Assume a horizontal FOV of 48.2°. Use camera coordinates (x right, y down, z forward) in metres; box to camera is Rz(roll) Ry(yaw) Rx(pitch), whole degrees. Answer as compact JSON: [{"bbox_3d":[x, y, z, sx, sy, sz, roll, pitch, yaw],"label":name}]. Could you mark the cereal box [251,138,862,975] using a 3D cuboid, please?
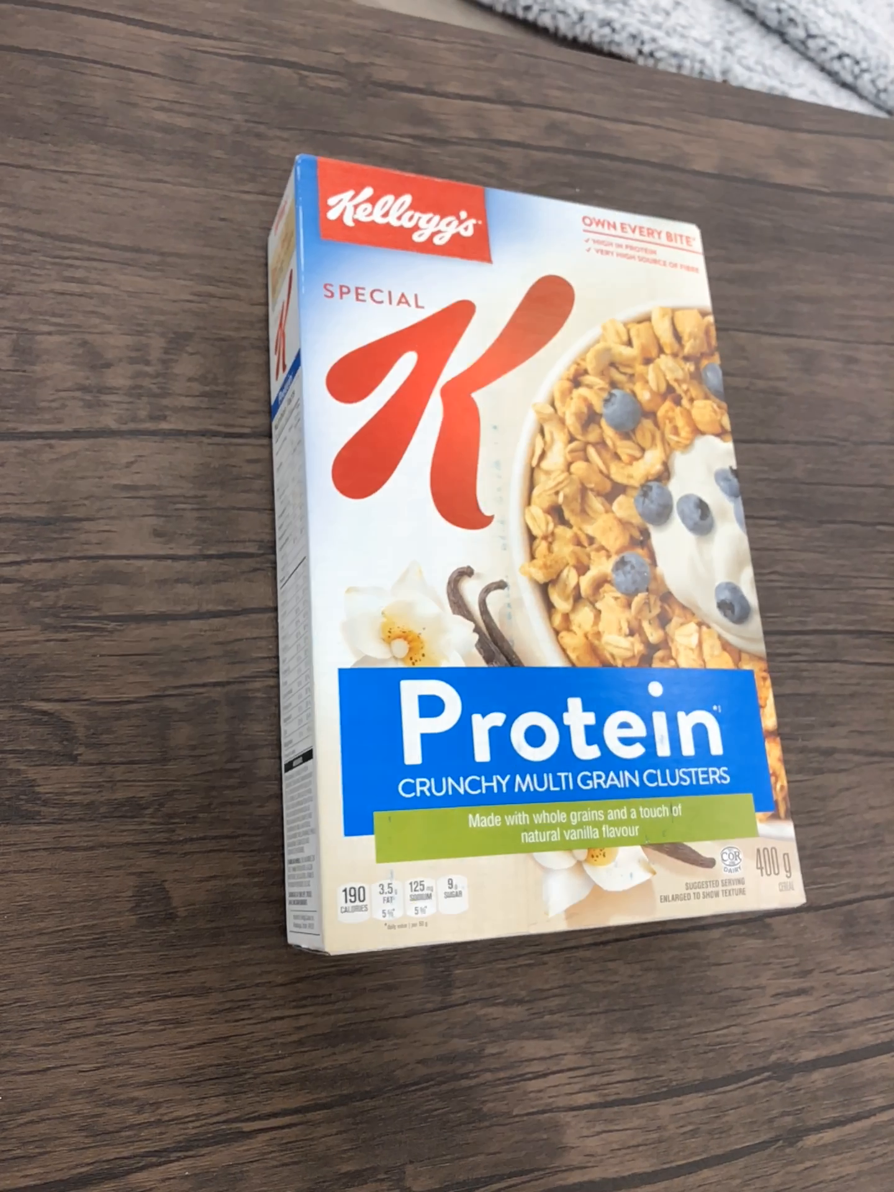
[{"bbox_3d":[0.030,-0.017,0.347,0.180,0.050,0.260,1,73,-20],"label":"cereal box"}]
